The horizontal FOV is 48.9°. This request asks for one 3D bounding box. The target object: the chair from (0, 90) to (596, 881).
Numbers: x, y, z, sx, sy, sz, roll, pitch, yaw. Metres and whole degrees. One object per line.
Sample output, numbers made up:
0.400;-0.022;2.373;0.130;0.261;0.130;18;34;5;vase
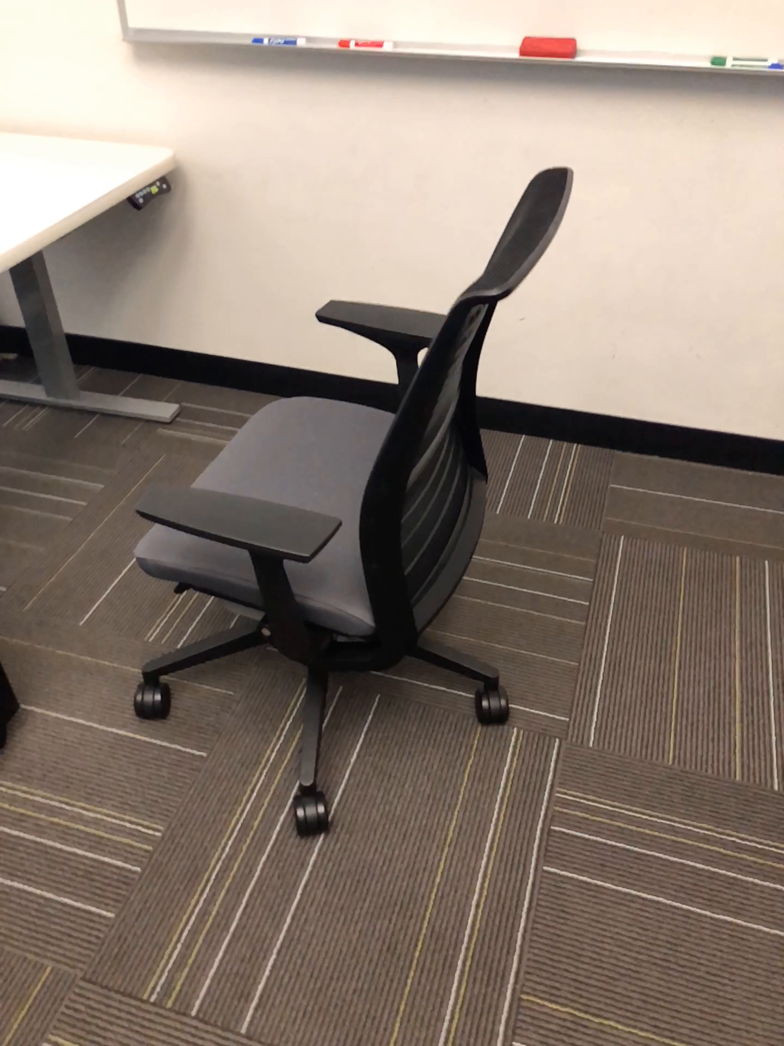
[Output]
-0.116;-0.091;1.360;0.681;0.906;0.723;9;39;13;chair
